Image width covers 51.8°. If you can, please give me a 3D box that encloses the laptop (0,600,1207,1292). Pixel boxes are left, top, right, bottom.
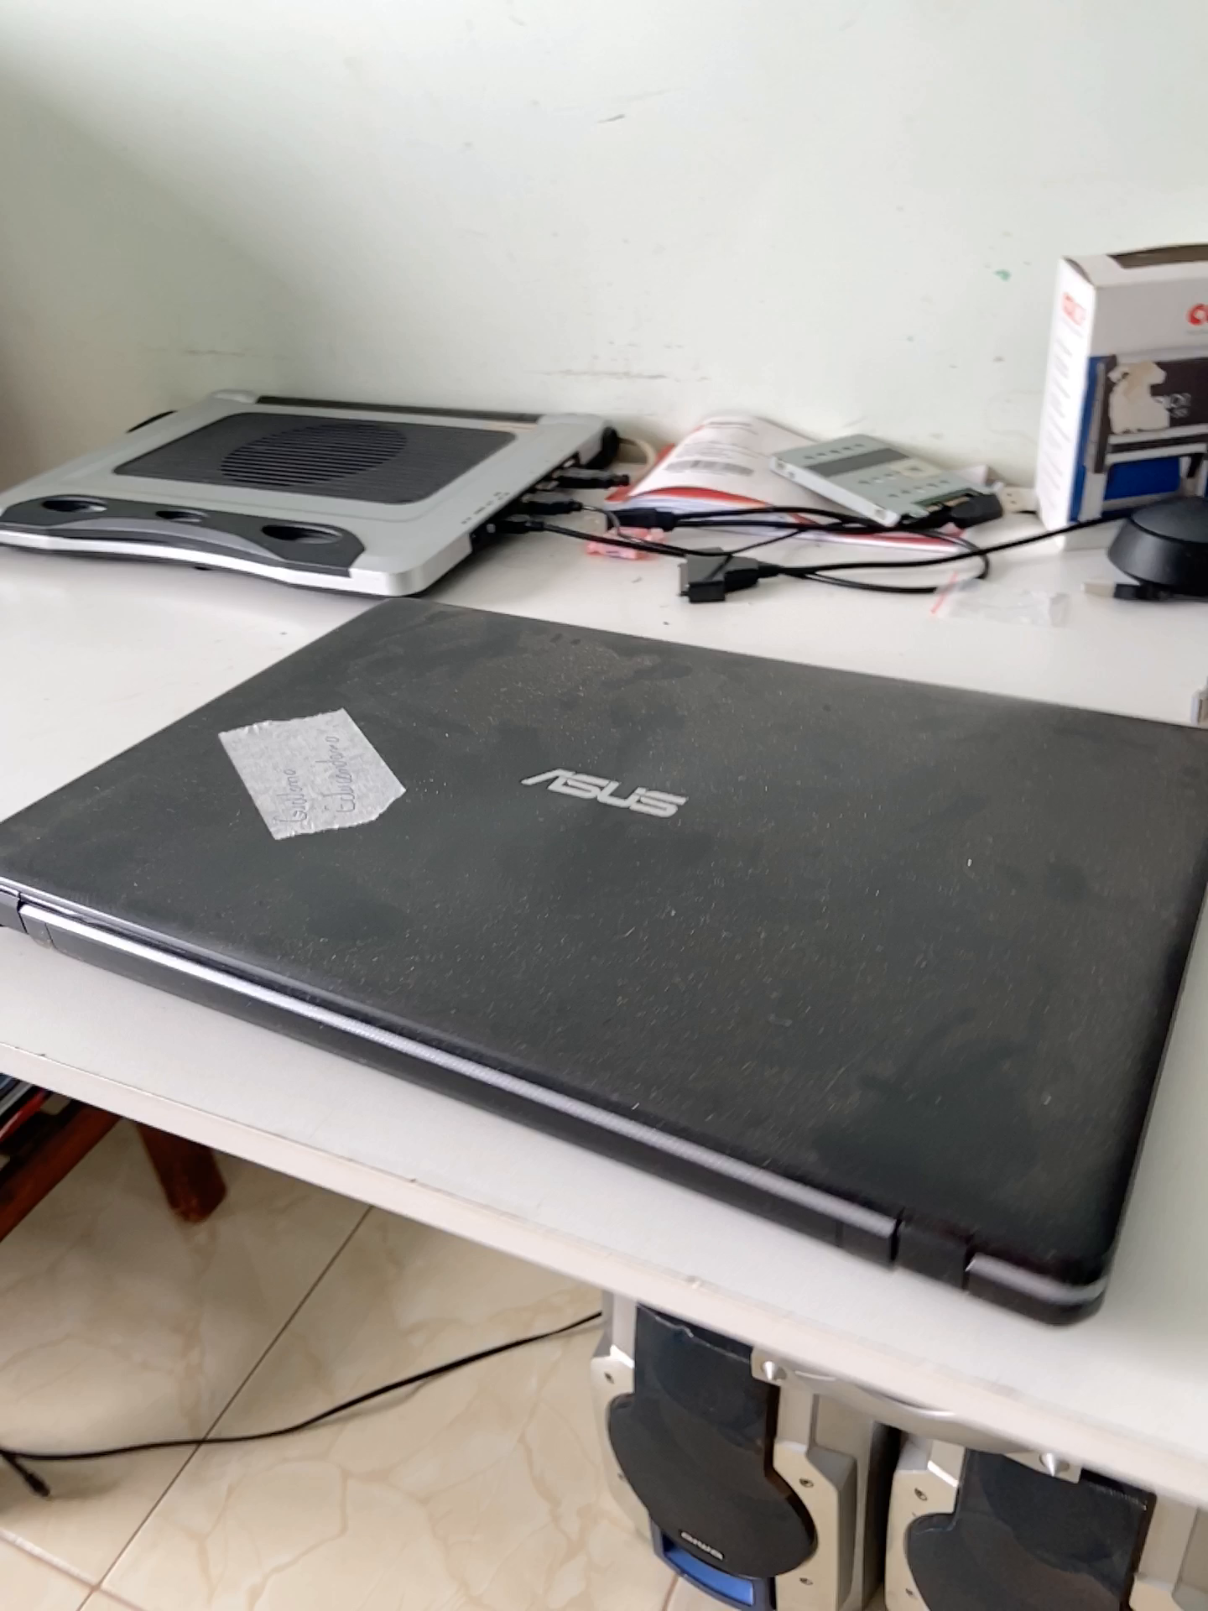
[{"bbox_3d":[-0.001,0.001,0.441,0.385,0.007,0.252,13,36,27],"label":"laptop"}]
